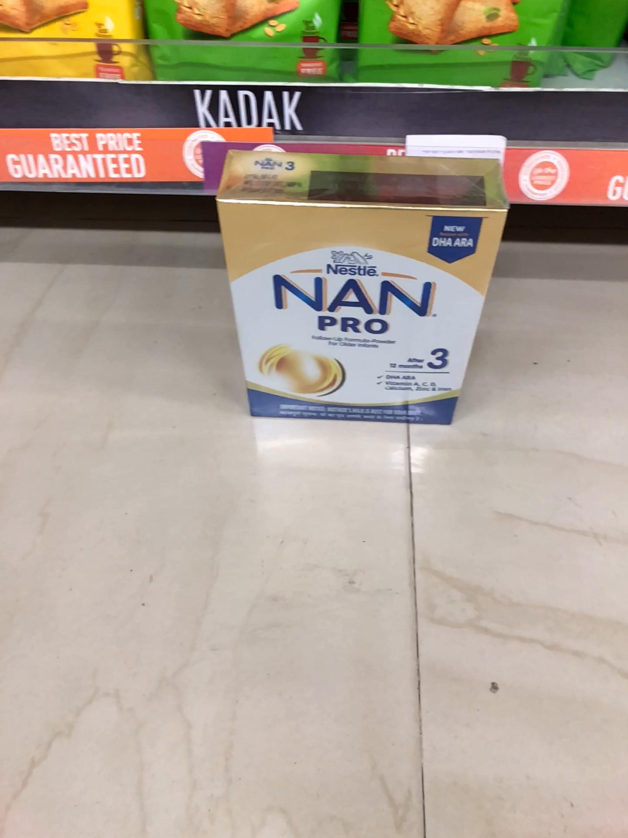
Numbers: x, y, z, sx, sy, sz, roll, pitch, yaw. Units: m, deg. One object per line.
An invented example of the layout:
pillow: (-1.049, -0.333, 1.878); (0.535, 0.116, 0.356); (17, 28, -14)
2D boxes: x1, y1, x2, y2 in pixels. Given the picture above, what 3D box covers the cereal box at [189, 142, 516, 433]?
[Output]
cereal box: (0.021, -0.070, 0.431); (0.160, 0.189, 0.050); (2, 54, 3)
